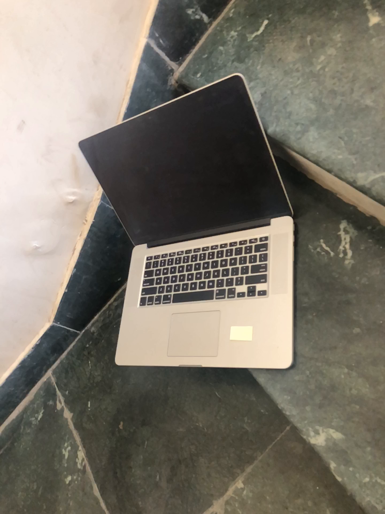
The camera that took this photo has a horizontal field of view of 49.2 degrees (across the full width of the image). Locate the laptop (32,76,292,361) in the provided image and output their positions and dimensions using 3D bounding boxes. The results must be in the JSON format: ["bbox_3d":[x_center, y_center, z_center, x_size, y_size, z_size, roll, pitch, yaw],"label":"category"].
[{"bbox_3d":[-0.037,-0.031,0.696,0.341,0.194,0.364,-10,62,35],"label":"laptop"}]
